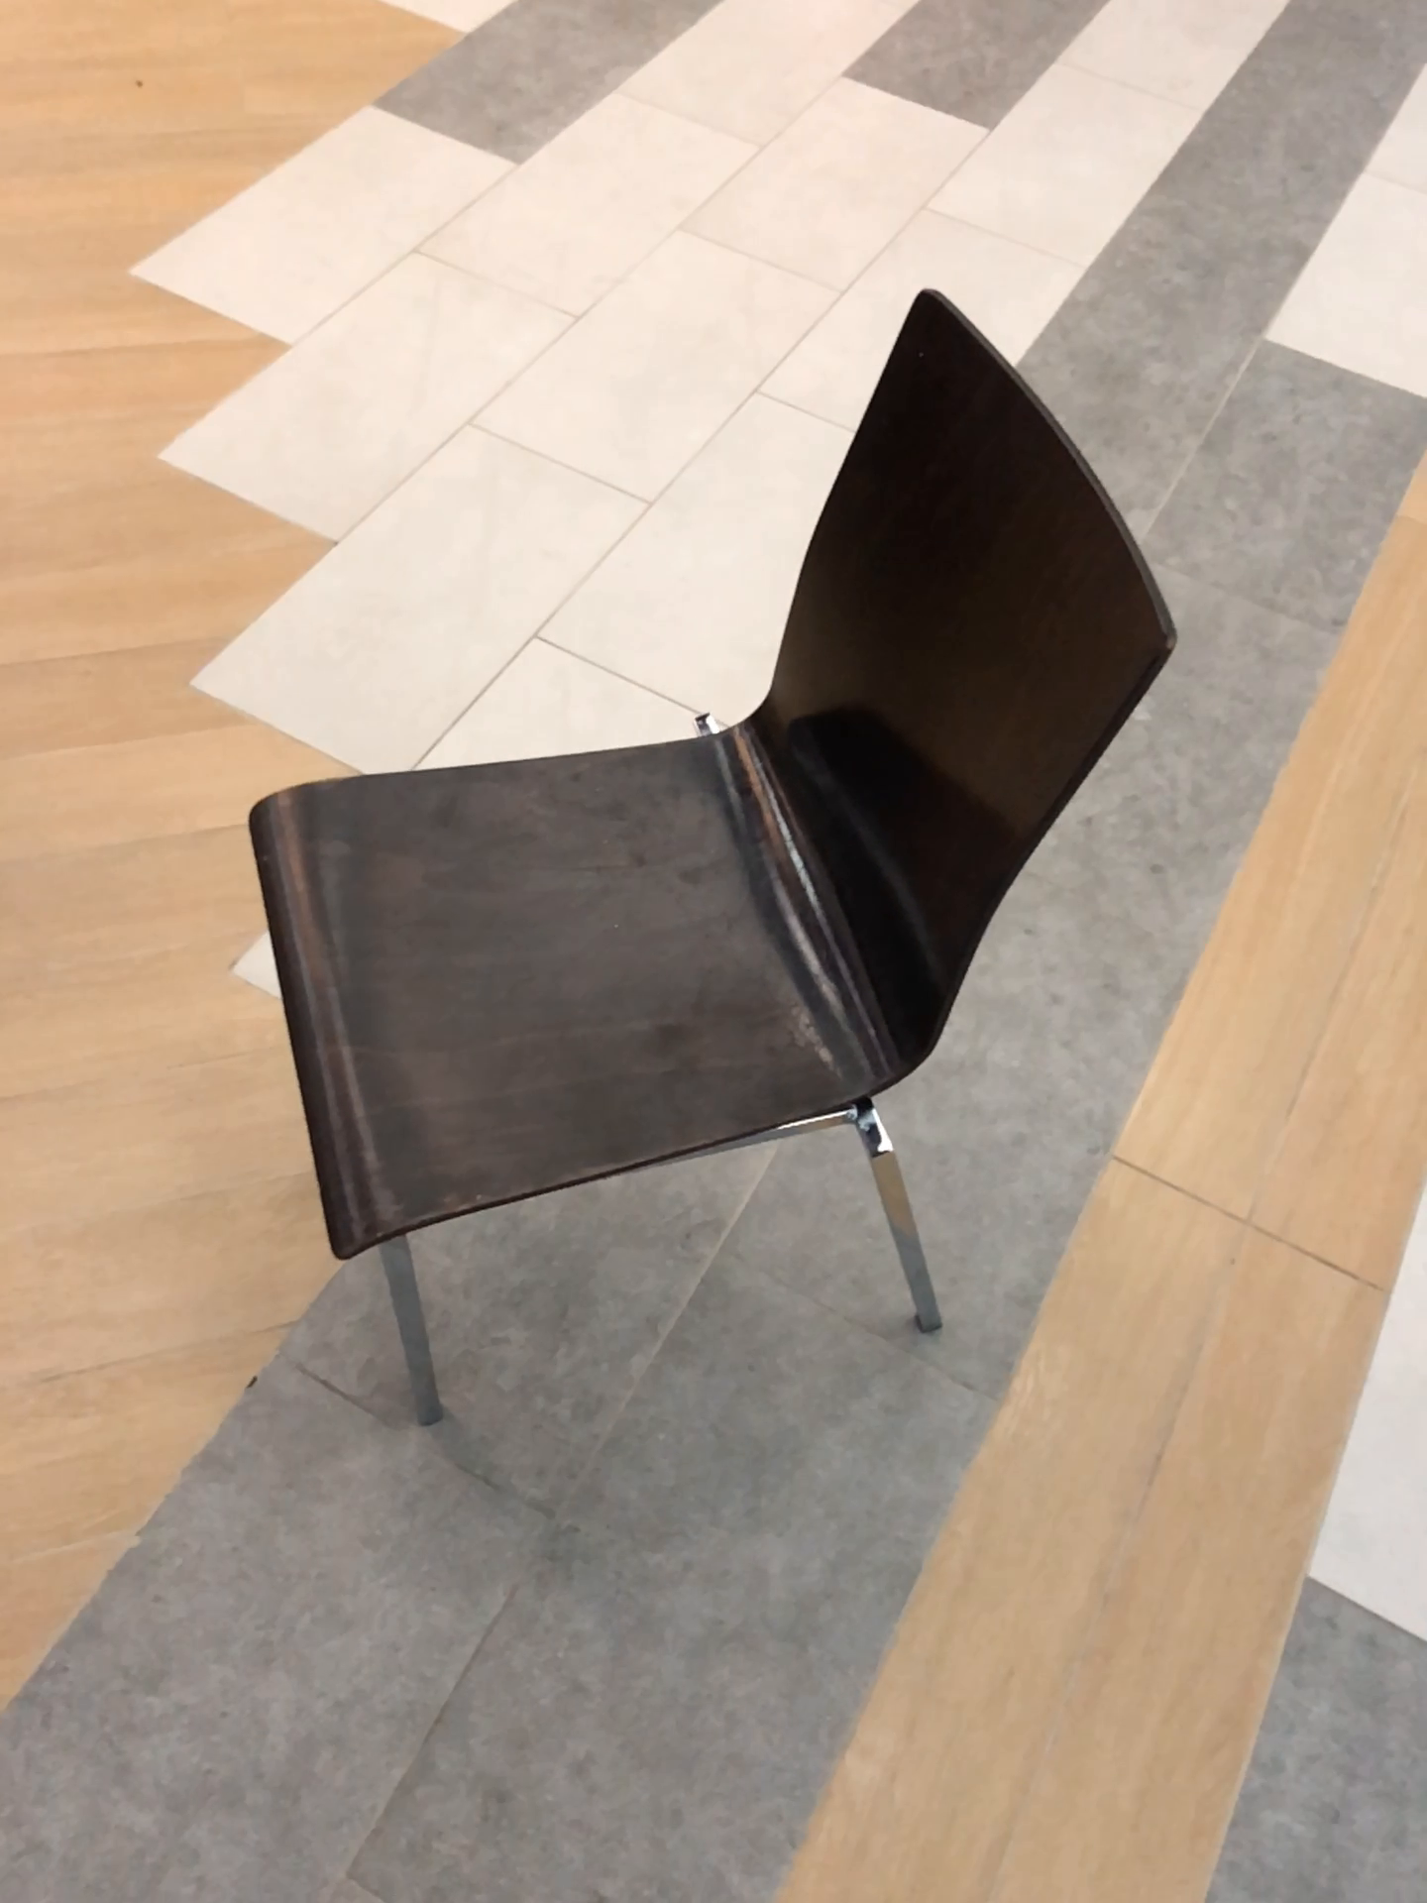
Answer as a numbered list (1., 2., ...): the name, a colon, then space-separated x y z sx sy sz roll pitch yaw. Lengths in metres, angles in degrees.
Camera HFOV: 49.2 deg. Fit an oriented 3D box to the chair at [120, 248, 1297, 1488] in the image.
1. chair: -0.057 0.004 1.200 0.542 0.848 0.435 -12 58 -14
